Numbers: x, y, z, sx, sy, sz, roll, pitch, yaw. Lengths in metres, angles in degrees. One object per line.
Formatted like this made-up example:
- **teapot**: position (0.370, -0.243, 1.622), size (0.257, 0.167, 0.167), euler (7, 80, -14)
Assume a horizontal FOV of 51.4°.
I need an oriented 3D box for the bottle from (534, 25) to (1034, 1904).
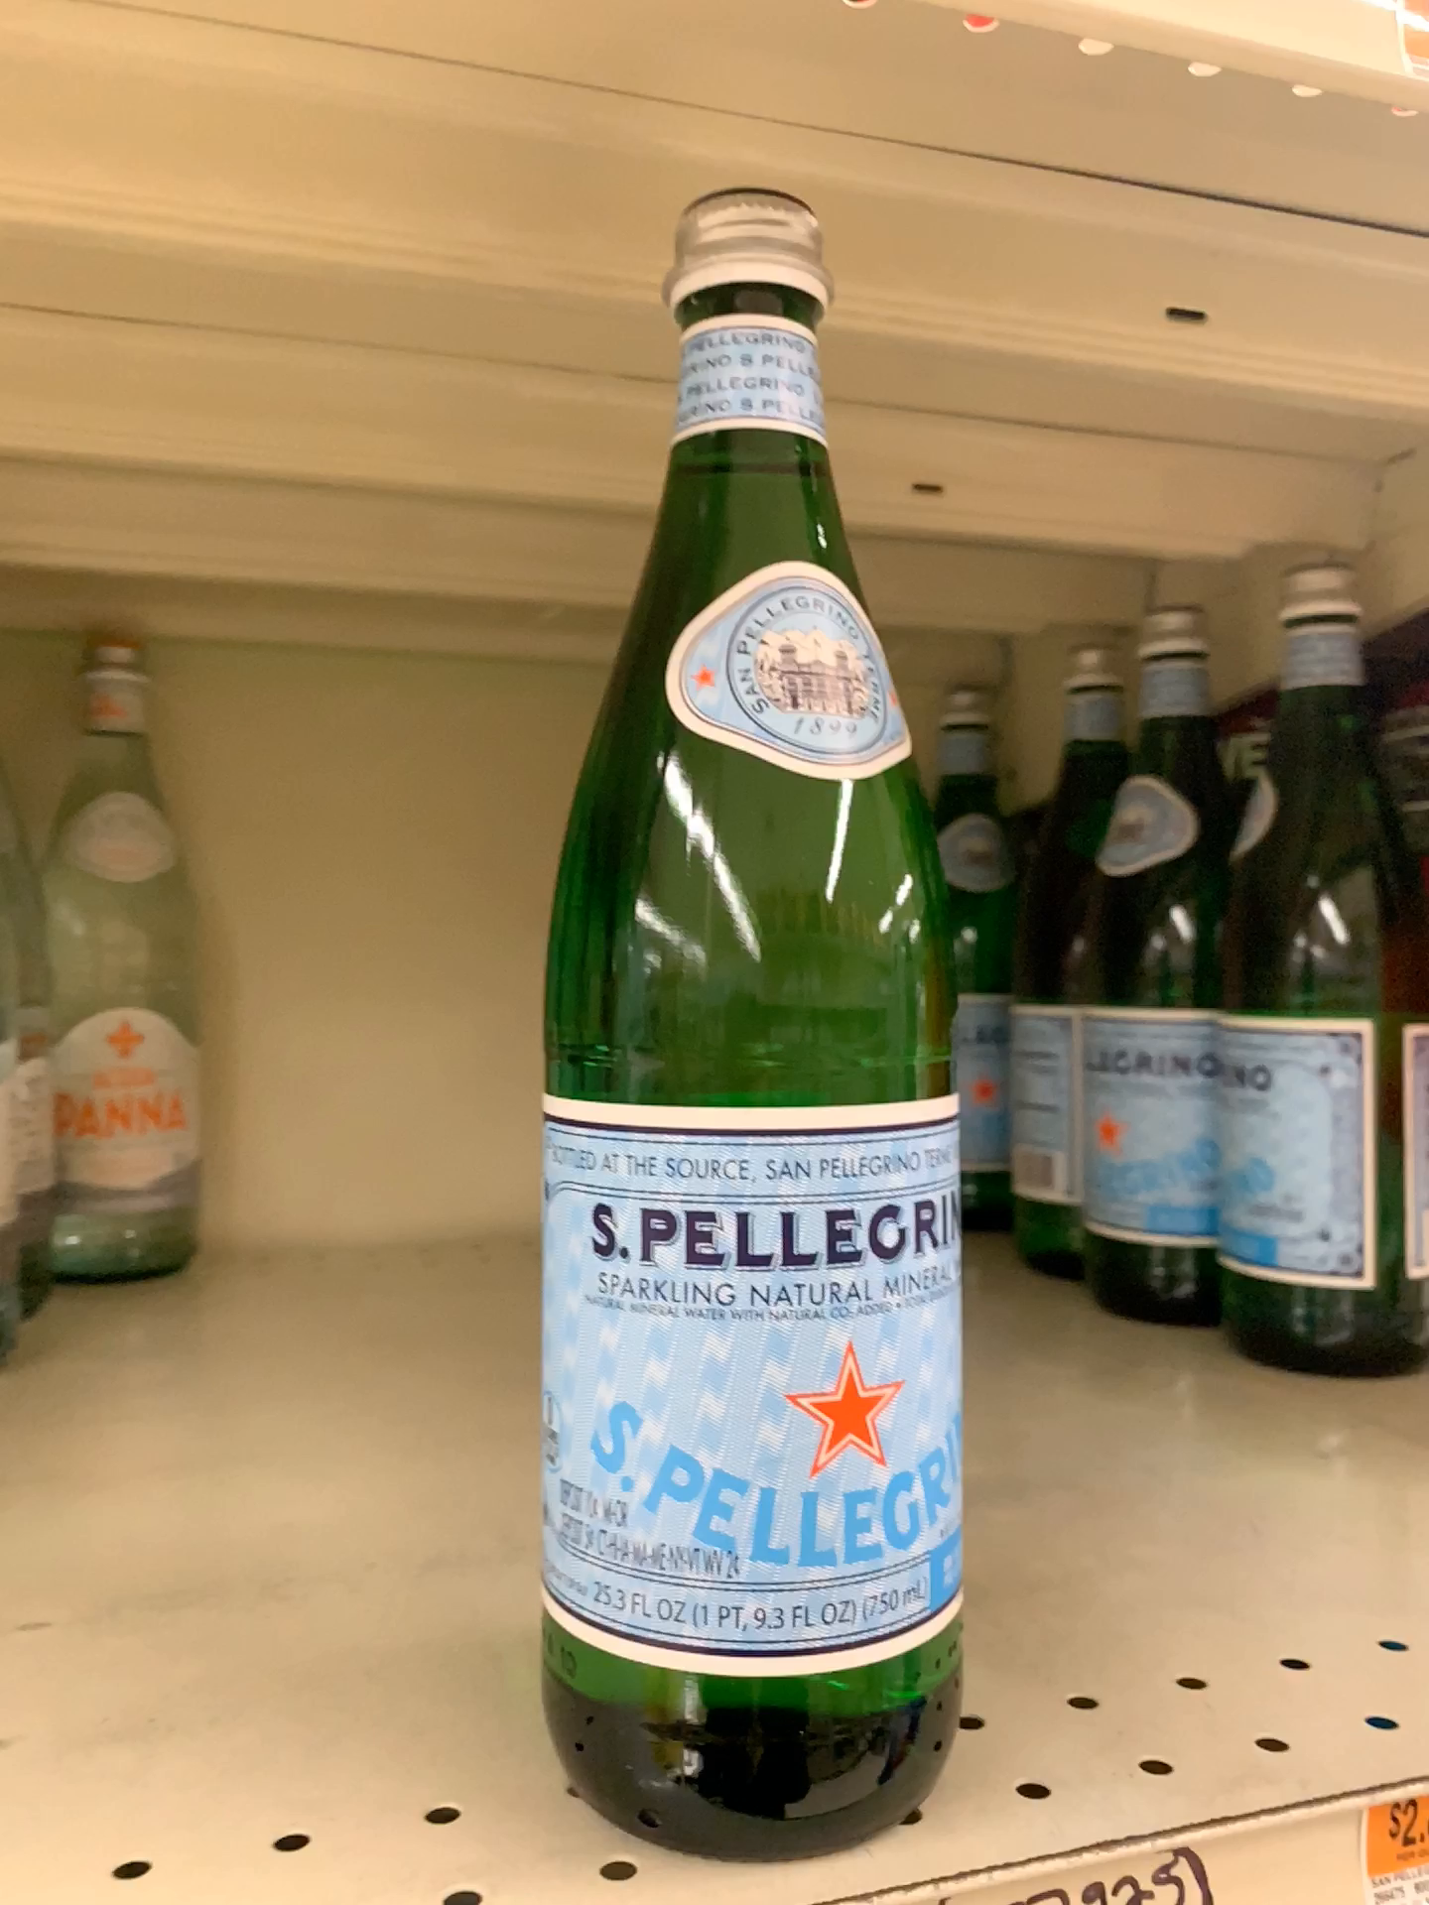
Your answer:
- **bottle**: position (0.008, 0.003, 0.277), size (0.078, 0.302, 0.065), euler (0, 1, -11)
